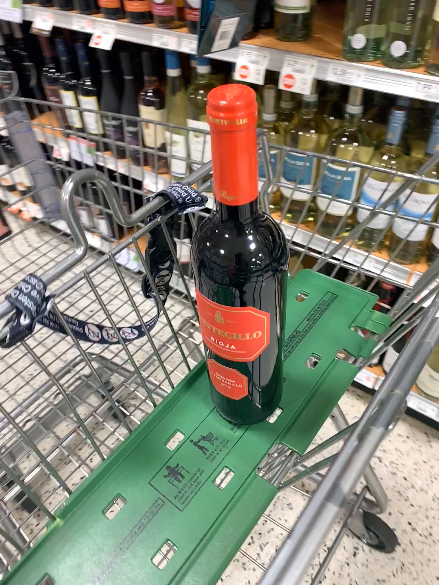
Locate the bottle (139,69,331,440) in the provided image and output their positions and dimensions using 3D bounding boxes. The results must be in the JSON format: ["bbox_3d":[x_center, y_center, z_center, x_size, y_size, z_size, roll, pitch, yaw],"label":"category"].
[{"bbox_3d":[0.019,-0.004,0.361,0.080,0.297,0.081,-2,45,2],"label":"bottle"}]
